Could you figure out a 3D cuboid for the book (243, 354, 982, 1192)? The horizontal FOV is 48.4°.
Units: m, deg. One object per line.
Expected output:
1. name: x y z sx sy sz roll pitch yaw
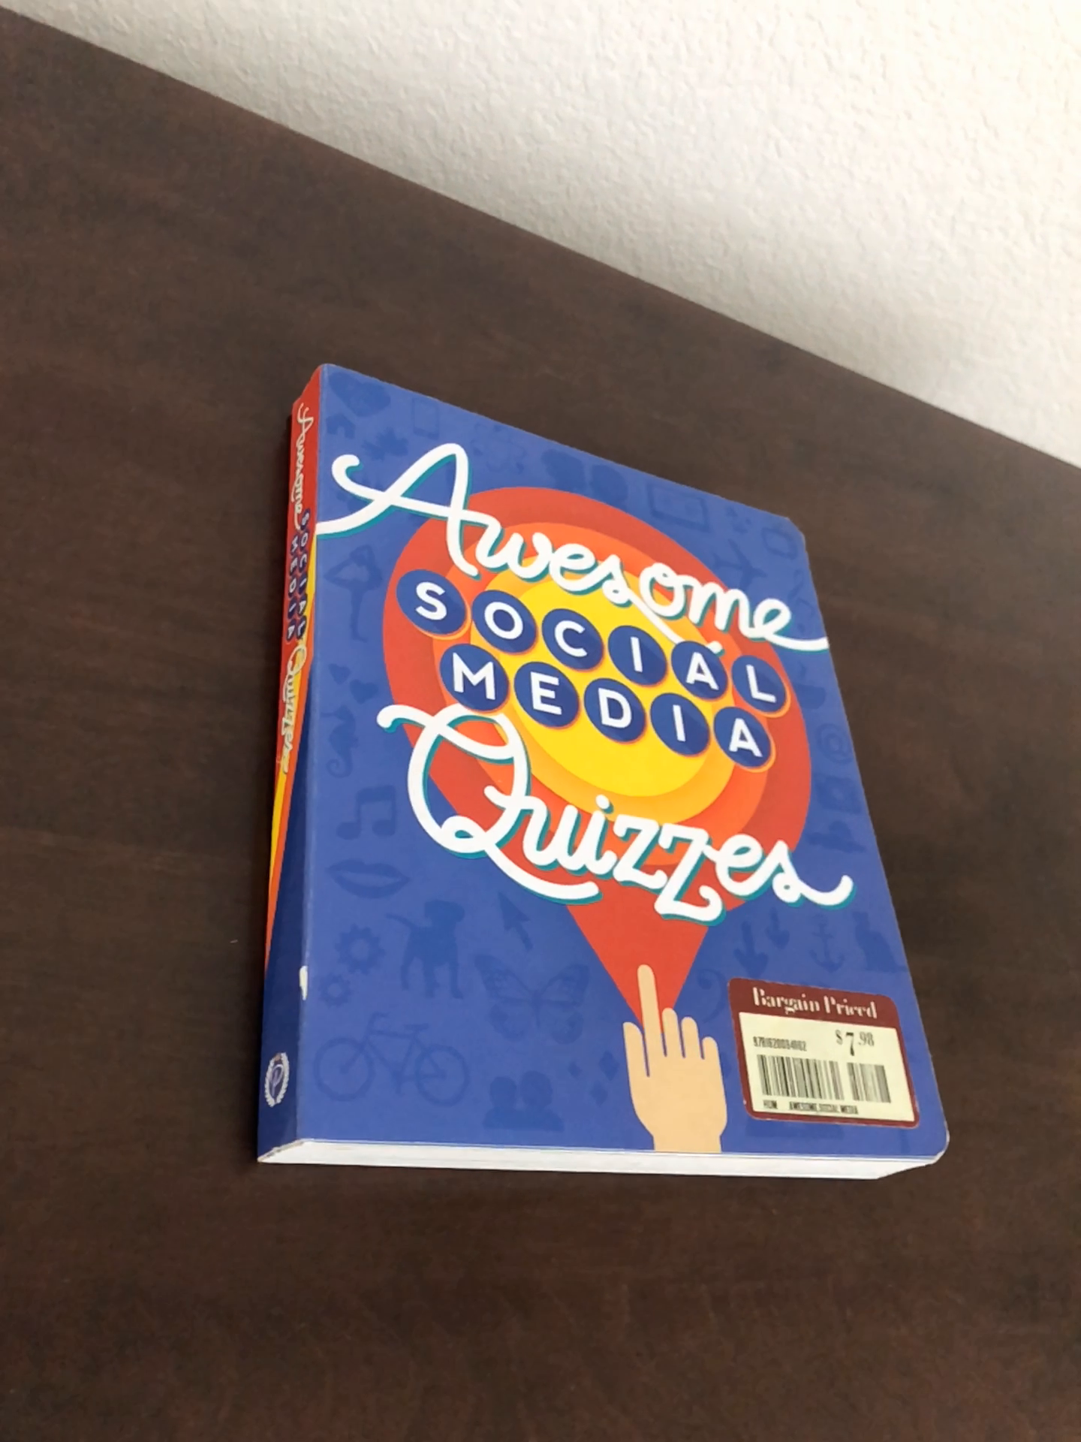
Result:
1. book: 0.017 0.011 0.307 0.172 0.020 0.201 12 55 -26
